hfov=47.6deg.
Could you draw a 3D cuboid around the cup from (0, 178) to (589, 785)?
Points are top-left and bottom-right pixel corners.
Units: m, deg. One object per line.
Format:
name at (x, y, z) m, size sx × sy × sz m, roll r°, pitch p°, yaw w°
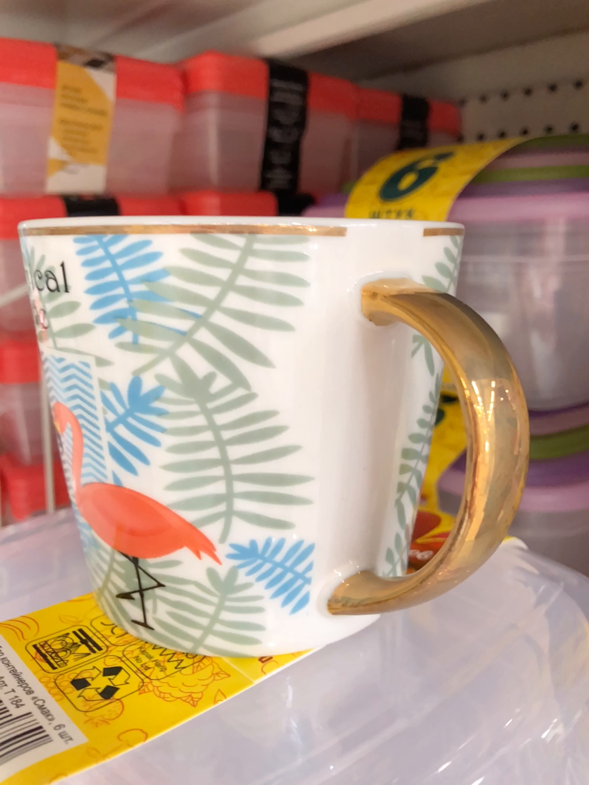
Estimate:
cup at (-0.007, -0.001, 0.164) m, size 0.128 × 0.085 × 0.102 m, roll 9°, pitch 15°, yaw 37°
